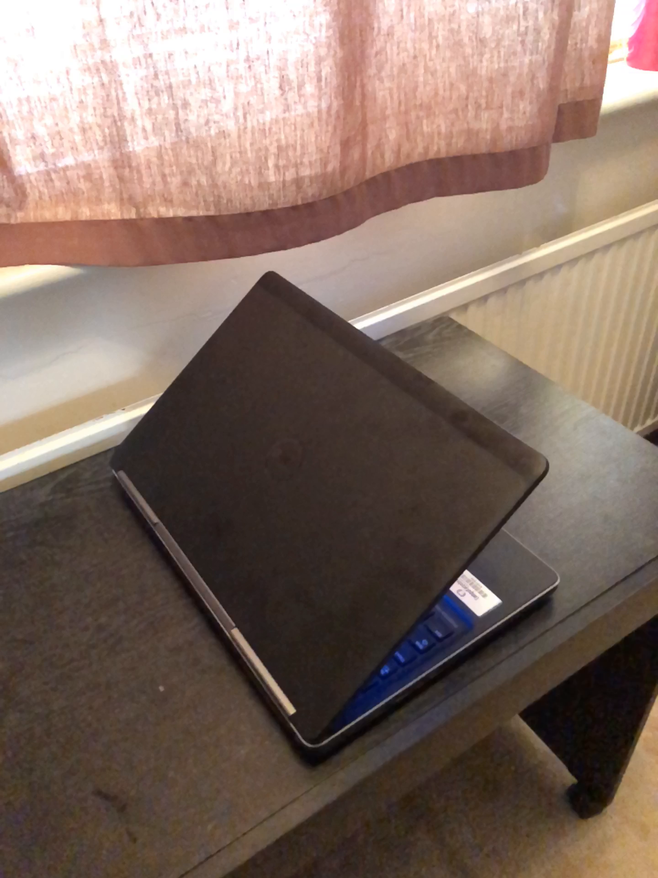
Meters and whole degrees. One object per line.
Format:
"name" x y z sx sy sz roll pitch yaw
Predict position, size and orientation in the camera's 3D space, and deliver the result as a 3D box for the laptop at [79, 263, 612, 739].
"laptop" -0.011 0.012 0.607 0.243 0.134 0.364 -25 44 -23
